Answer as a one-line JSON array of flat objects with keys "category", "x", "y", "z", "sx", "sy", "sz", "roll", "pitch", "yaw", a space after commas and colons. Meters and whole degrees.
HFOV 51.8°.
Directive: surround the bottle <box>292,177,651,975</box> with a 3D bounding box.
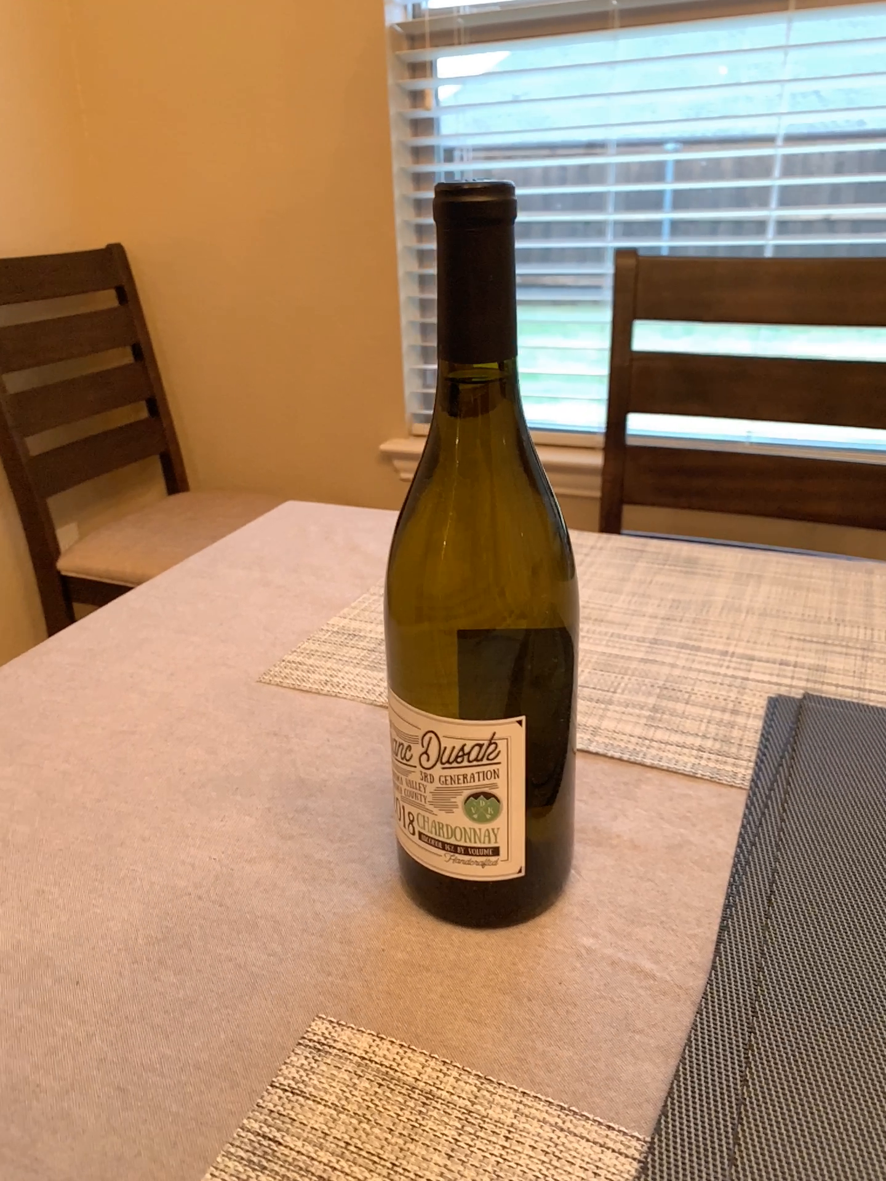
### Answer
[{"category": "bottle", "x": 0.014, "y": -0.003, "z": 0.362, "sx": 0.090, "sy": 0.289, "sz": 0.080, "roll": 17, "pitch": 29, "yaw": 37}]
